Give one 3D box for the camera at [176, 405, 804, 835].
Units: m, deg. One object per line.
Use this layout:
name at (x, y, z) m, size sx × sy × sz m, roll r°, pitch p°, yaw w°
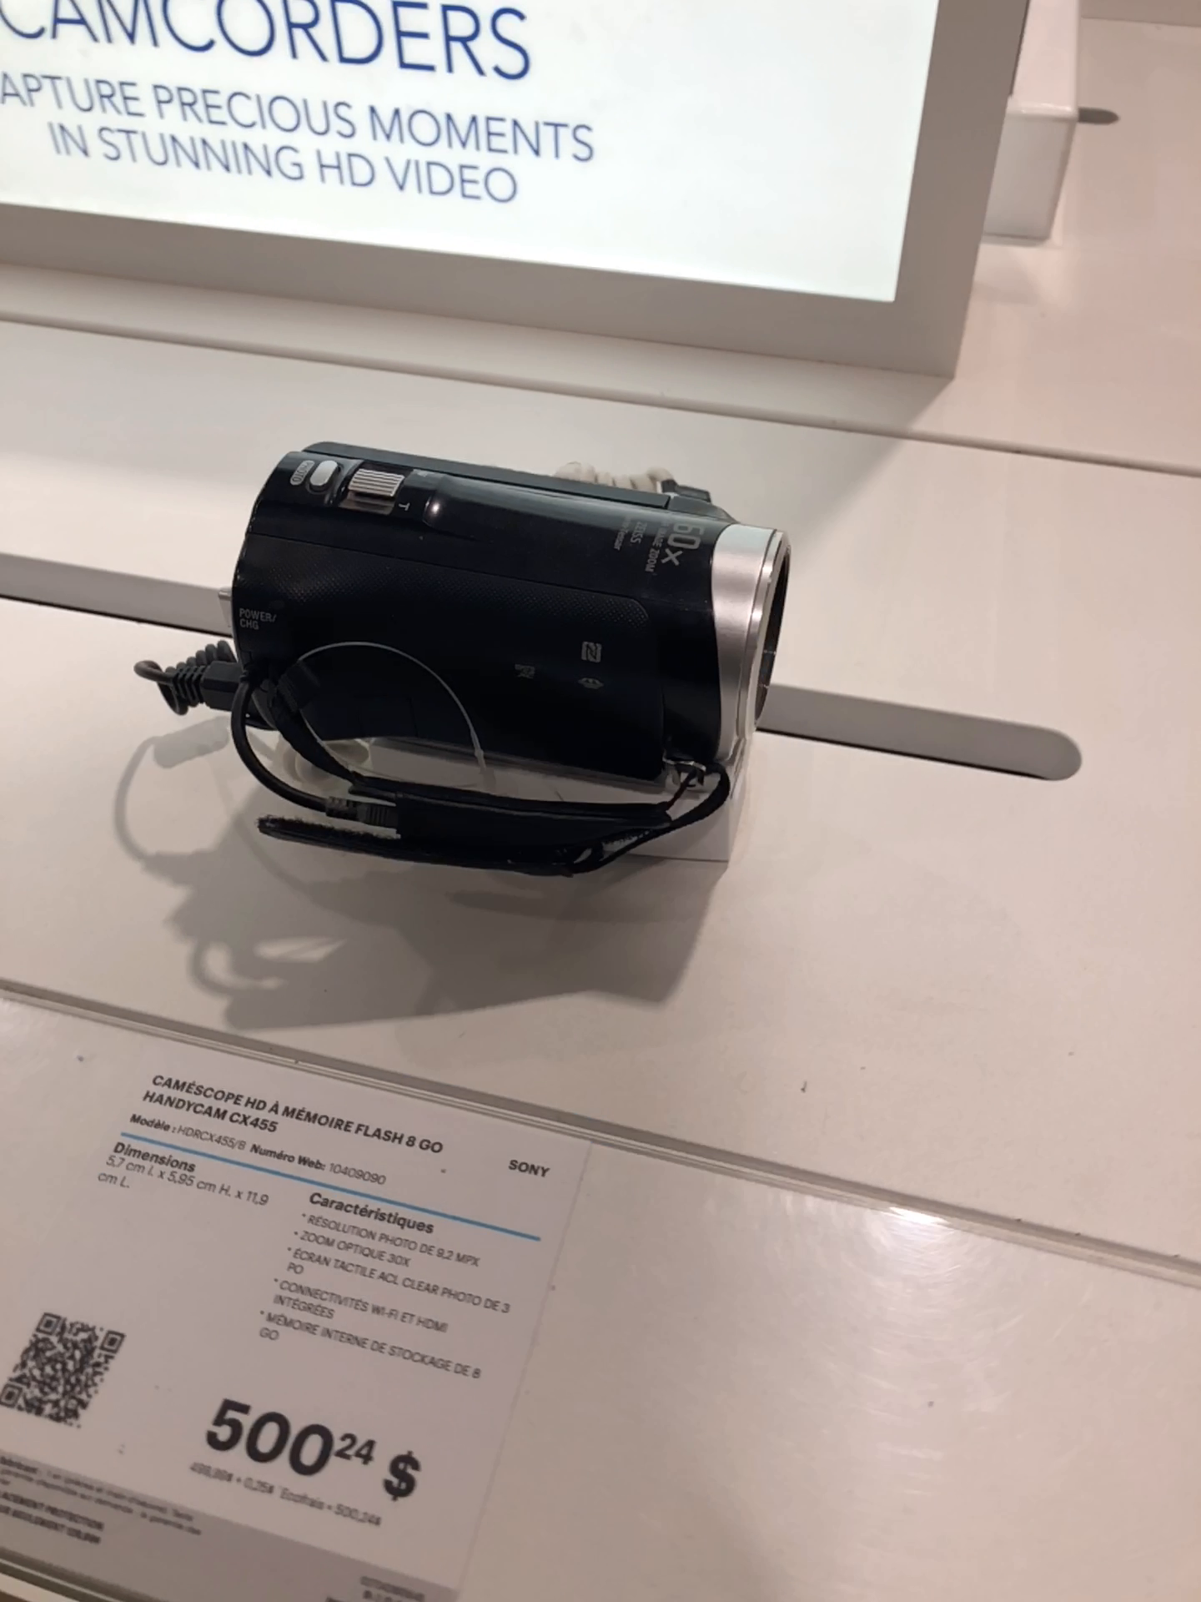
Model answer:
camera at (-0.021, -0.042, 0.303) m, size 0.121 × 0.058 × 0.057 m, roll 10°, pitch 49°, yaw 10°
